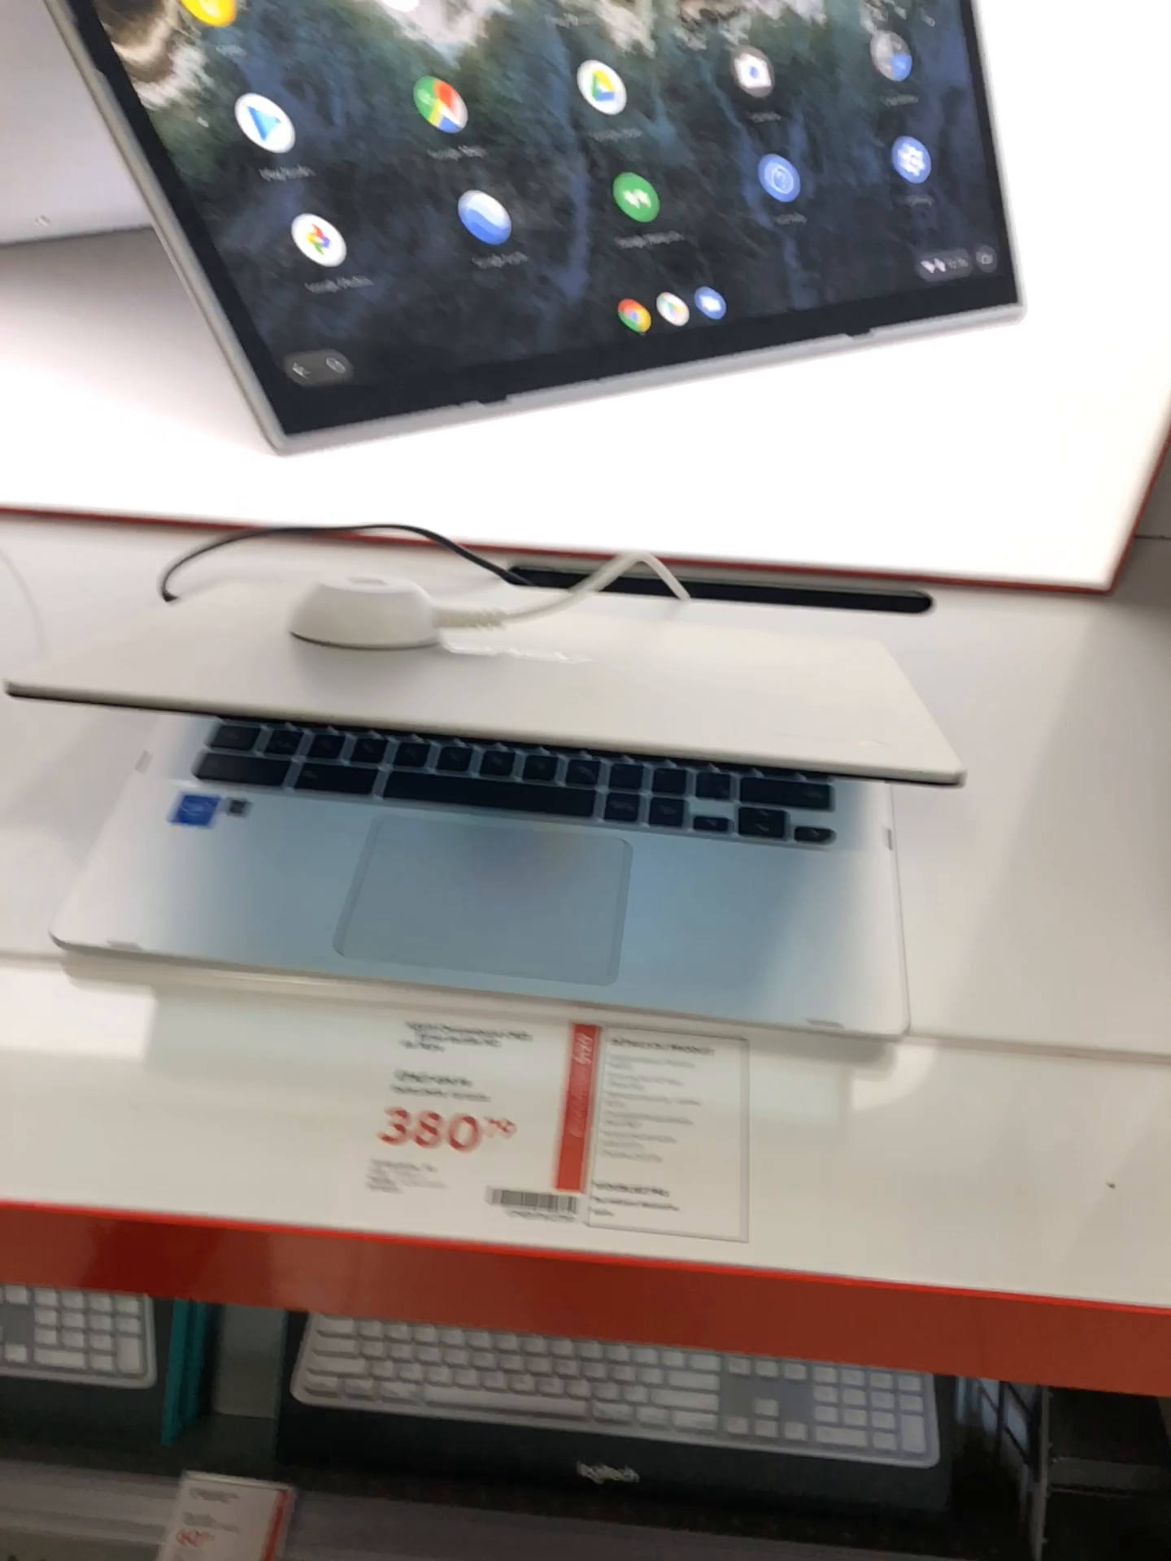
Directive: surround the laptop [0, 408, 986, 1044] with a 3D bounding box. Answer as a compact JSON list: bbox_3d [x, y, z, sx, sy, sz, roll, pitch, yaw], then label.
[{"bbox_3d":[-0.027,-0.036,0.508,0.317,0.101,0.226,6,43,4],"label":"laptop"}]
